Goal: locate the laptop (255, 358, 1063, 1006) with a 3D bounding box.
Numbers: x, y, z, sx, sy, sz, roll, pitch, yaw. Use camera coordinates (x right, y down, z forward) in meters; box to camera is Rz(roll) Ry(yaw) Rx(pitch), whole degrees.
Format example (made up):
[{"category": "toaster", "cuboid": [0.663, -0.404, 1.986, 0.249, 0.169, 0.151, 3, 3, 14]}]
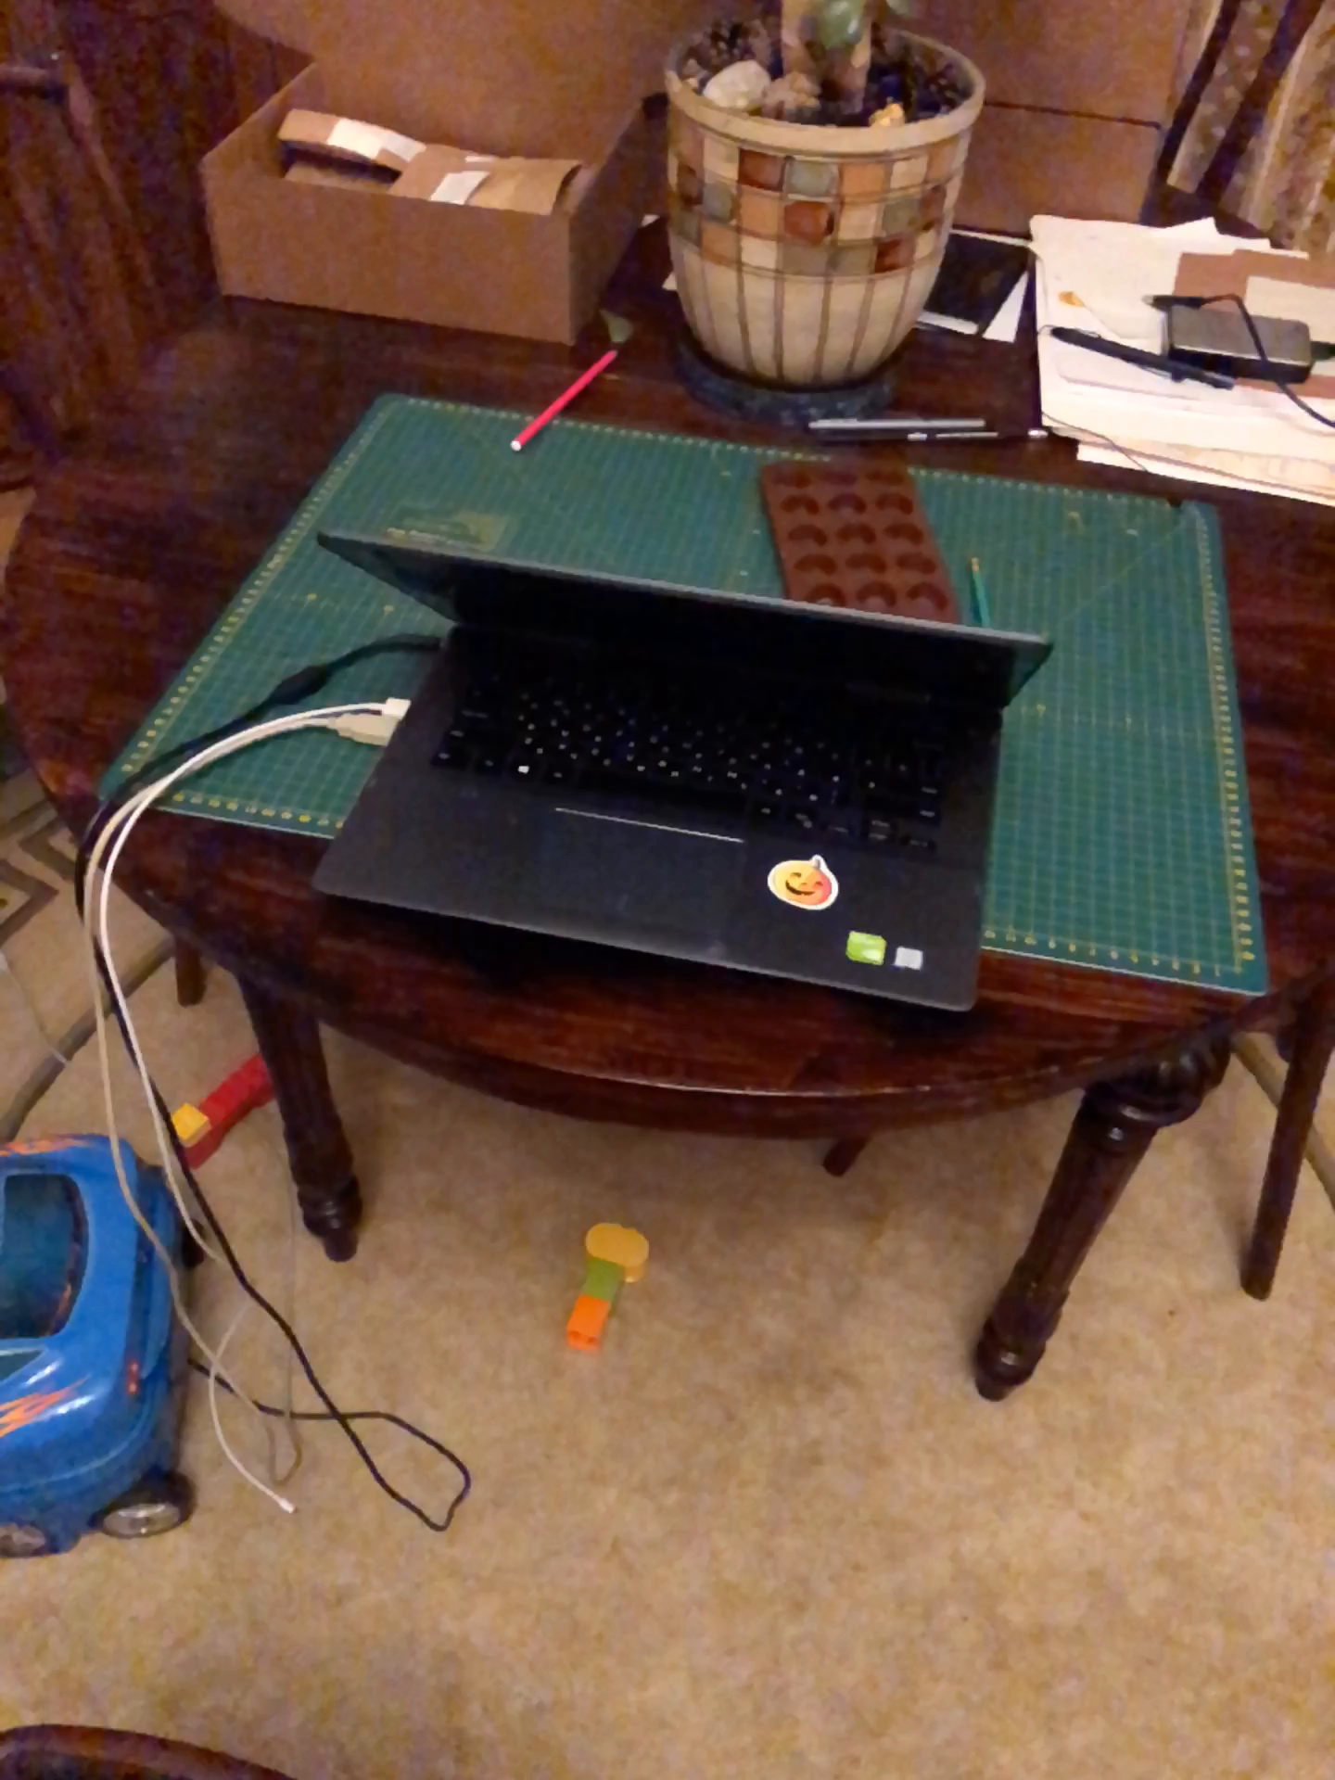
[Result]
[{"category": "laptop", "cuboid": [0.009, -0.109, 0.712, 0.317, 0.162, 0.225, 10, 47, 7]}]
